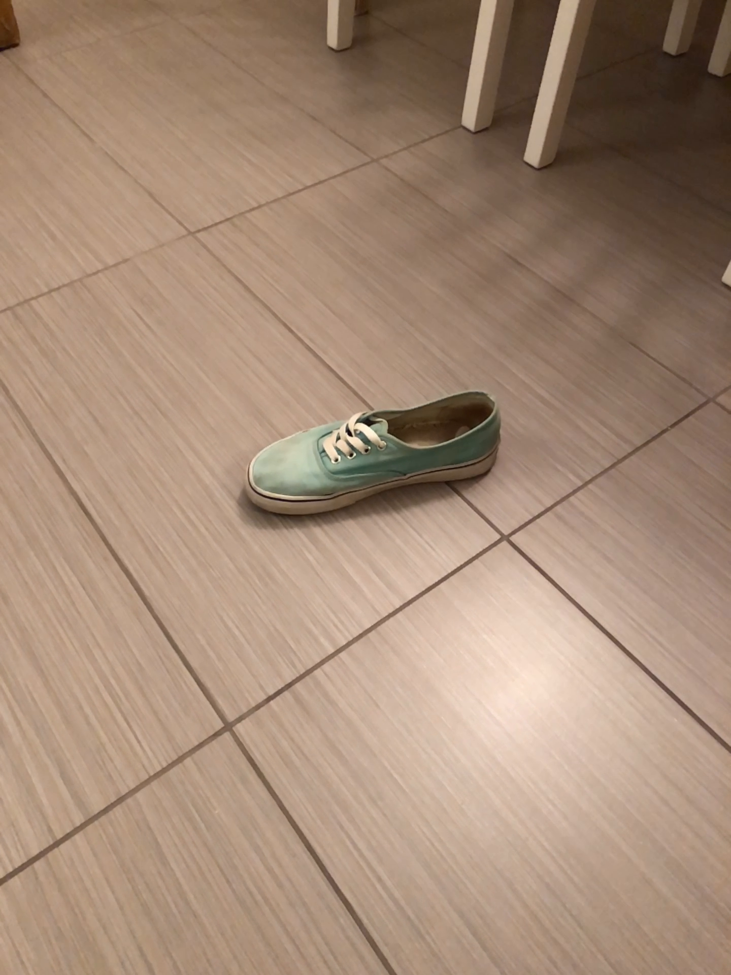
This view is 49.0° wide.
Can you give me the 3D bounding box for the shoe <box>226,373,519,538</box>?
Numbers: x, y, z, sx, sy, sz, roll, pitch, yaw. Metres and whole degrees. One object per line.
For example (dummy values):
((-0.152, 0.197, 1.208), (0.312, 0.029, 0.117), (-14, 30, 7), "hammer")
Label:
((0.005, -0.033, 0.779), (0.260, 0.080, 0.090), (-10, 51, -8), "shoe")
